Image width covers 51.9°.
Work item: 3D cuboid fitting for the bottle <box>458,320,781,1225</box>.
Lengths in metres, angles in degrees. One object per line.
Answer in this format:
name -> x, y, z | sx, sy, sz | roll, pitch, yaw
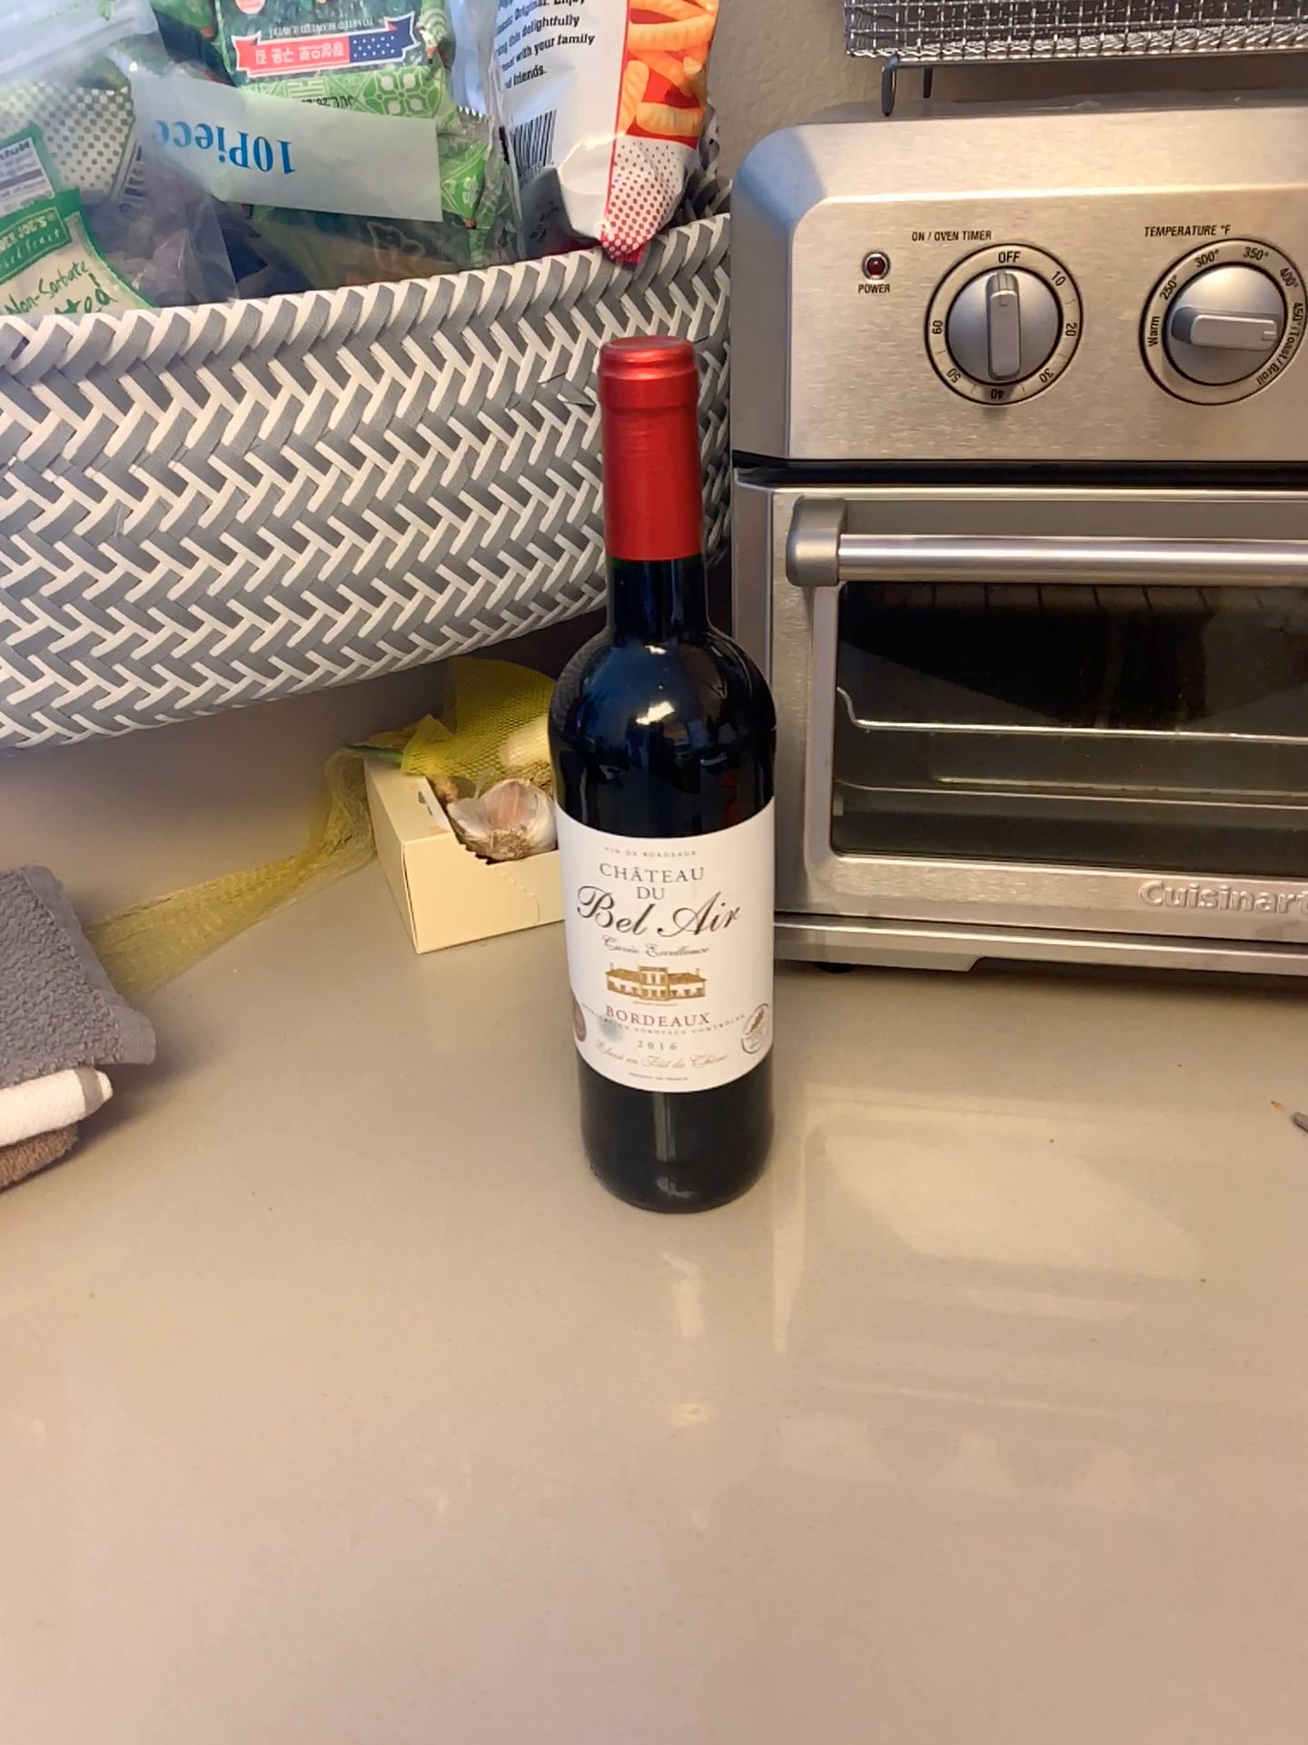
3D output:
bottle -> 0.000, -0.021, 0.446 | 0.080, 0.288, 0.080 | -2, 29, 1
